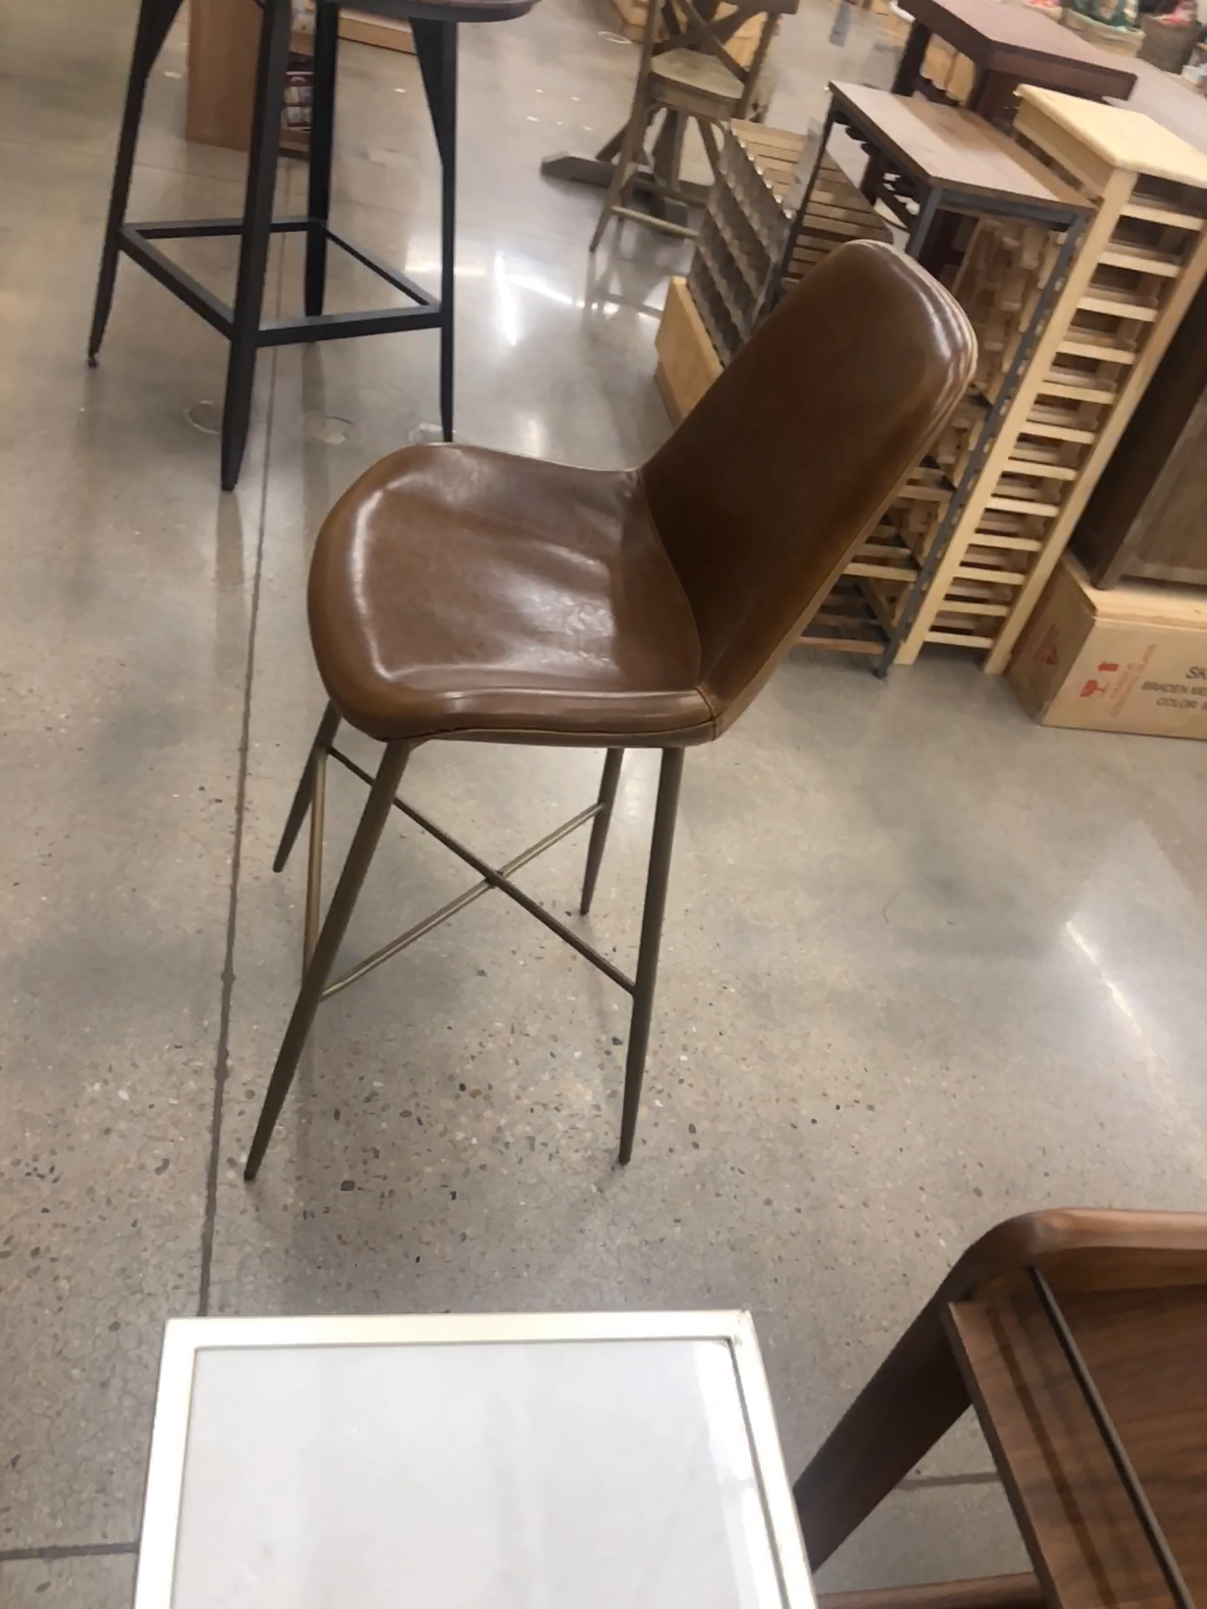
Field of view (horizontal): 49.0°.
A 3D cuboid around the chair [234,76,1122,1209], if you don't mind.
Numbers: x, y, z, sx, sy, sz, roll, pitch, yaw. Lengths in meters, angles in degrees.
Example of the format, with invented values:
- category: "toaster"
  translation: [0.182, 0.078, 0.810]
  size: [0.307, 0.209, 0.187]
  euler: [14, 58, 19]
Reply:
- category: "chair"
  translation: [-0.048, -0.109, 1.504]
  size: [0.610, 1.055, 0.605]
  euler: [6, 40, -13]
